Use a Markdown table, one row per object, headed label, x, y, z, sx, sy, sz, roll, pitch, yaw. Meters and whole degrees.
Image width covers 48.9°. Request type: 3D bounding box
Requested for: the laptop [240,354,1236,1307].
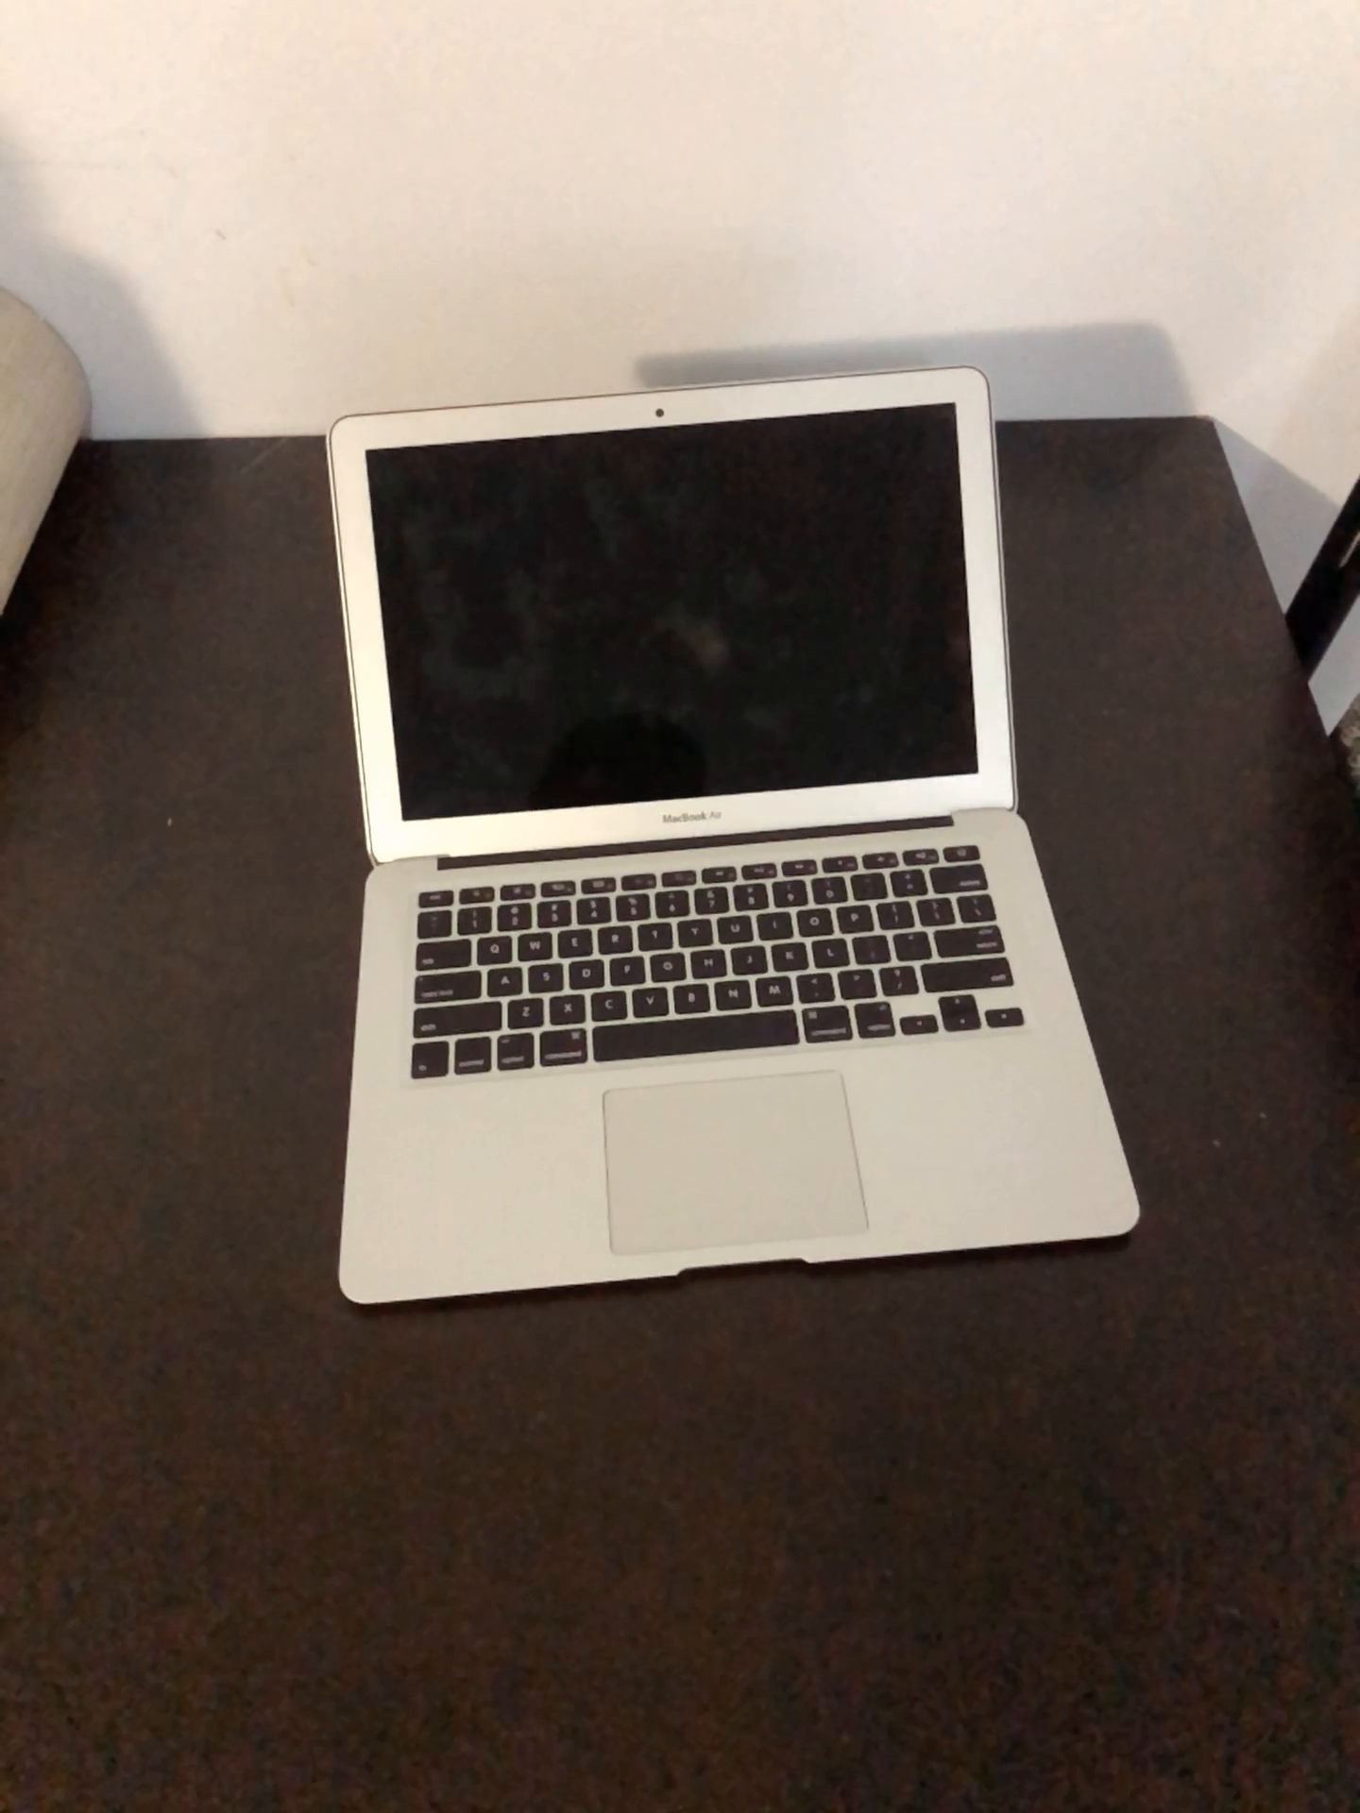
| label | x | y | z | sx | sy | sz | roll | pitch | yaw |
| --- | --- | --- | --- | --- | --- | --- | --- | --- | --- |
| laptop | 0.008 | -0.051 | 0.616 | 0.303 | 0.136 | 0.362 | -5 | 51 | -1 |
